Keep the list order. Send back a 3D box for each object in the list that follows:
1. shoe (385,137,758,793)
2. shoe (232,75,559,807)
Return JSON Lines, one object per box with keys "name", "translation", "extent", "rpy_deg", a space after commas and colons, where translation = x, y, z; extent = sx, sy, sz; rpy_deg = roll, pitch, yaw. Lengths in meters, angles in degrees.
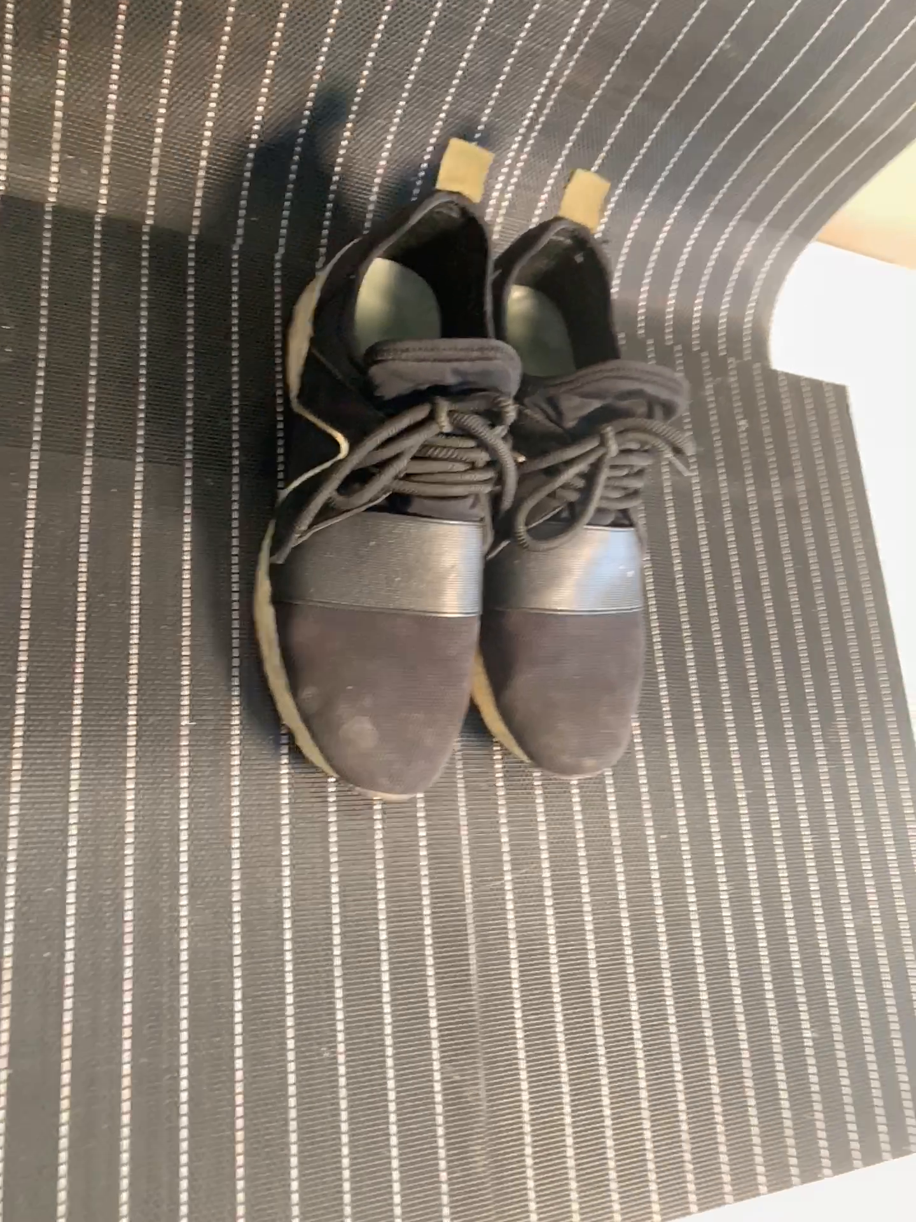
{"name": "shoe", "translation": [0.045, -0.064, 0.446], "extent": [0.100, 0.090, 0.280], "rpy_deg": [-1, 75, -27]}
{"name": "shoe", "translation": [-0.031, -0.064, 0.392], "extent": [0.100, 0.080, 0.280], "rpy_deg": [6, 72, -25]}
